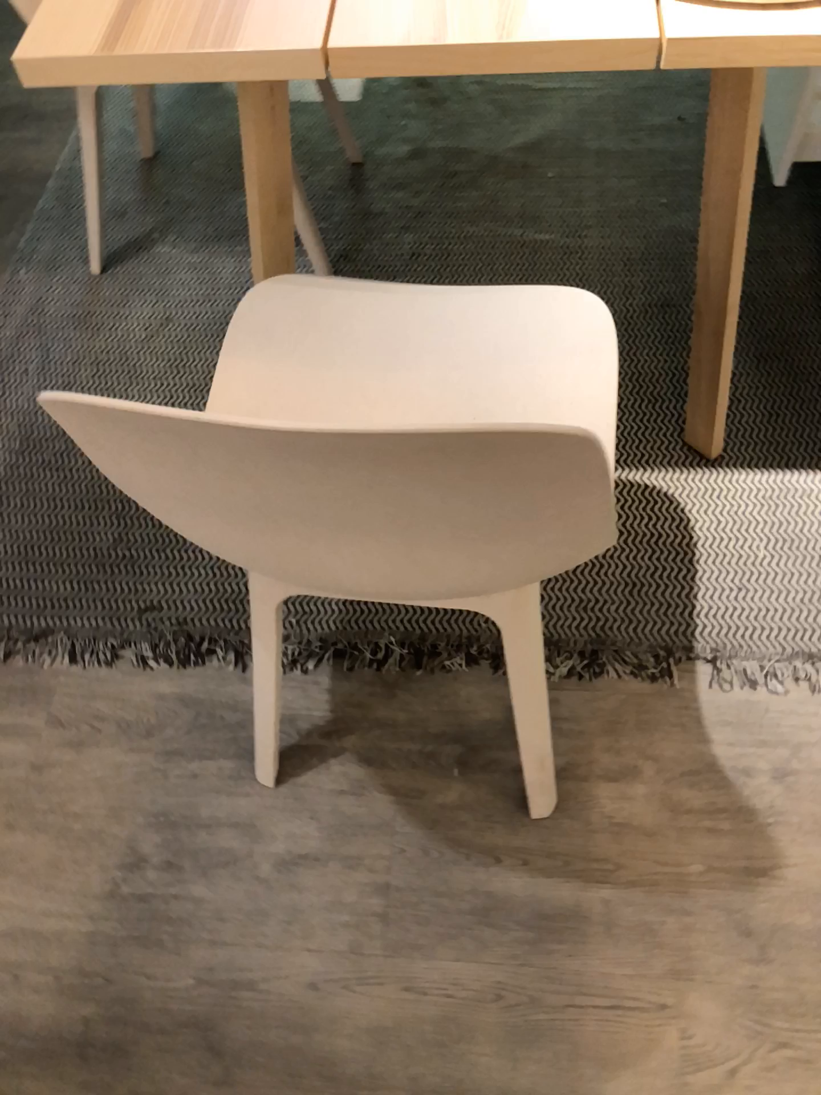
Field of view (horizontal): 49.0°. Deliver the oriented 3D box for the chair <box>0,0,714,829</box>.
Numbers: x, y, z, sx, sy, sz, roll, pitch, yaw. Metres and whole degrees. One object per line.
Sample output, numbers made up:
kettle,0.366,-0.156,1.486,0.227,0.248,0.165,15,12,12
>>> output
chair,-0.026,-0.090,0.929,0.460,0.766,0.512,3,58,7
